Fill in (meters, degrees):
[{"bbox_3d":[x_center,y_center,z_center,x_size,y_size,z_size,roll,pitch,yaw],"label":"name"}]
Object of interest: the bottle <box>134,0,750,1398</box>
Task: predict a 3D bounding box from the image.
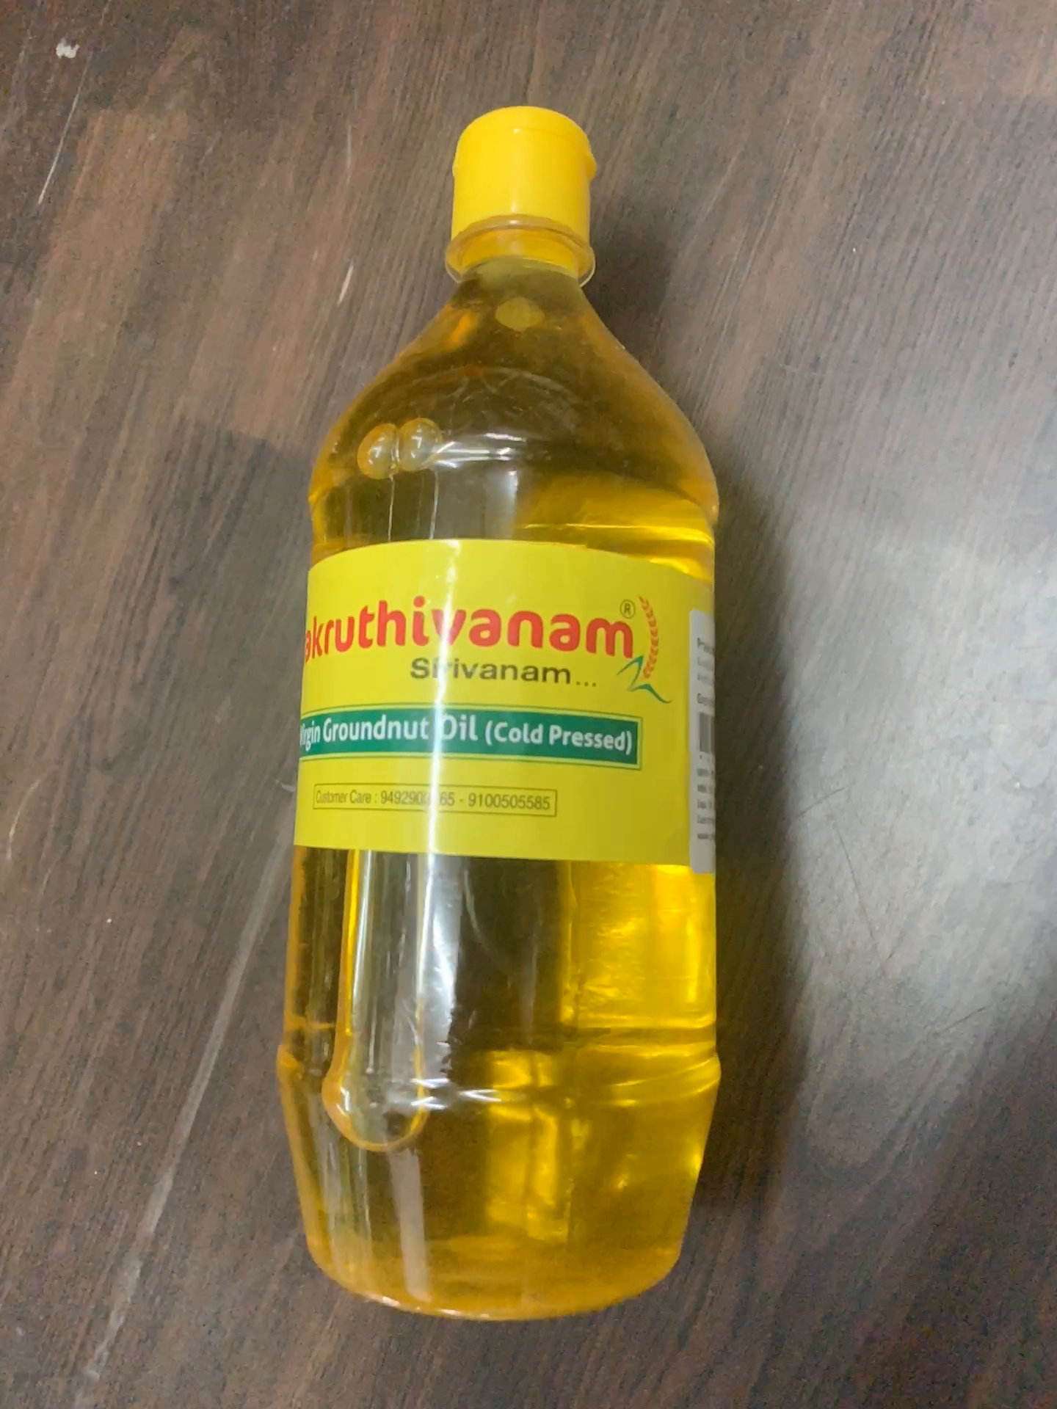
[{"bbox_3d":[-0.008,-0.024,0.226,0.090,0.080,0.260,-1,82,24],"label":"bottle"}]
